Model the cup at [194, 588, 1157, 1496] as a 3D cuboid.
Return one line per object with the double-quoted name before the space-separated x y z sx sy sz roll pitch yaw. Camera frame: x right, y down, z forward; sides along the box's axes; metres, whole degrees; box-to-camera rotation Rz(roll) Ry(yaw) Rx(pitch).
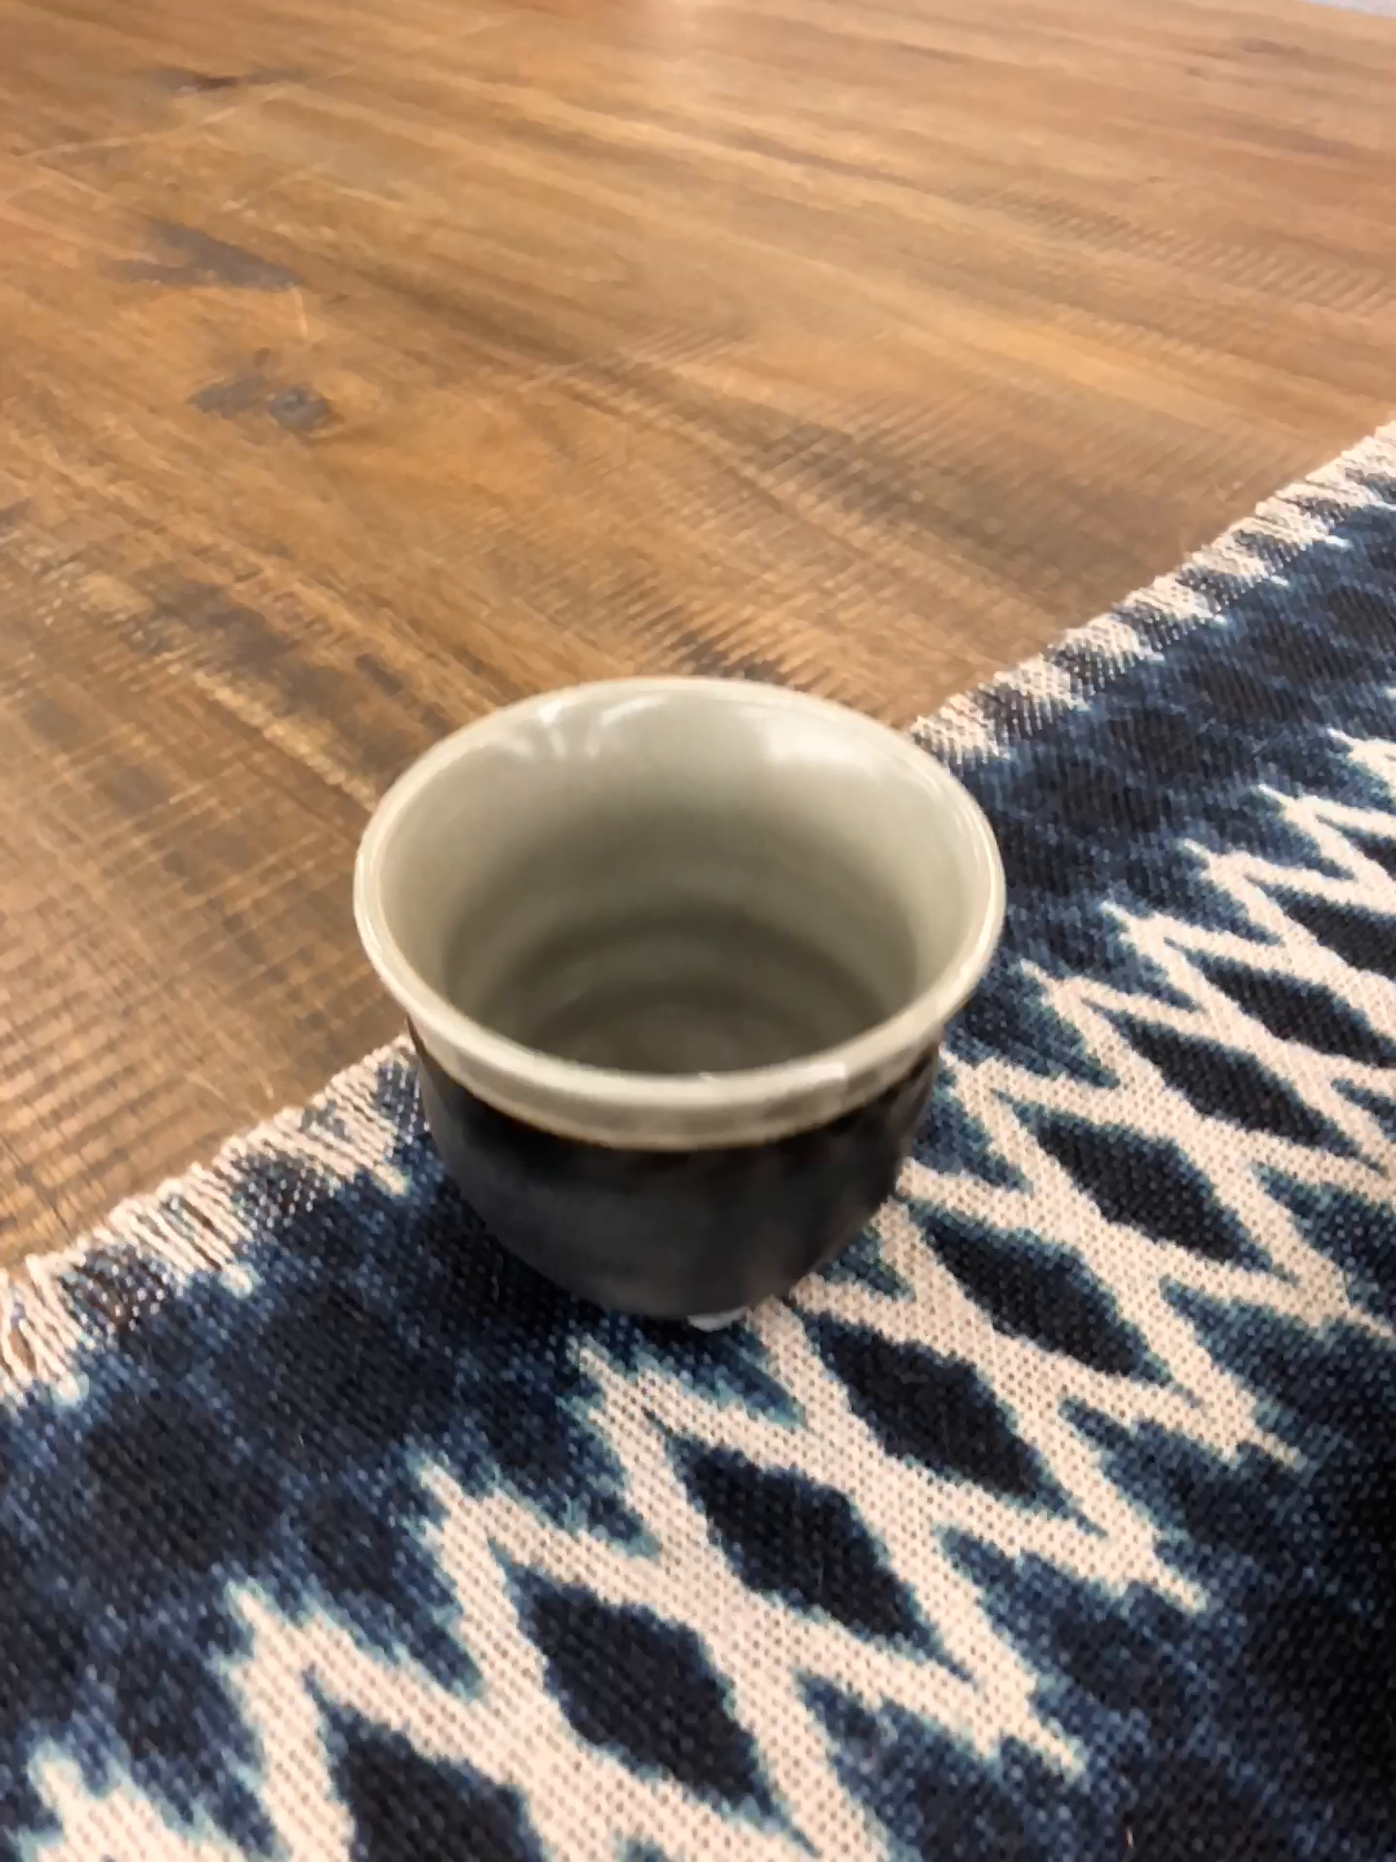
"cup" -0.004 0.007 0.201 0.078 0.048 0.085 -1 42 1
